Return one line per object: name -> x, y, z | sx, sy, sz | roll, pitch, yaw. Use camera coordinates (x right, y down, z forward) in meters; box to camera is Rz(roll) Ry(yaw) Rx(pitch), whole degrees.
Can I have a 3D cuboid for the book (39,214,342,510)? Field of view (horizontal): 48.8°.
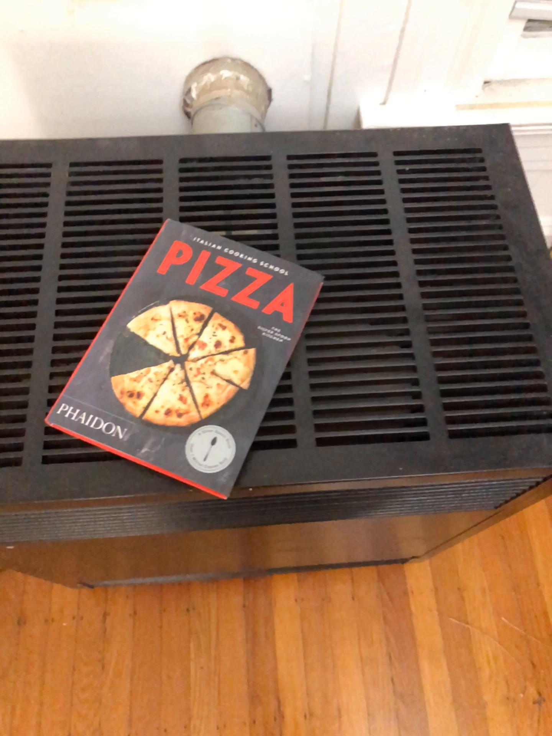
book -> -0.066, -0.018, 0.538 | 0.180, 0.020, 0.231 | 21, 65, 8
